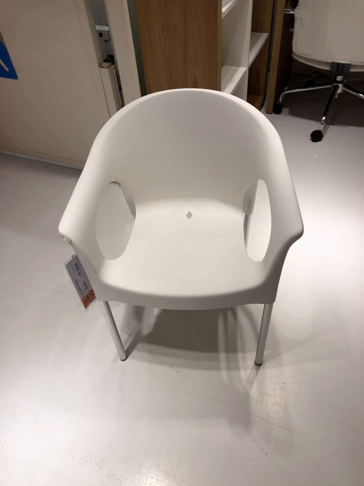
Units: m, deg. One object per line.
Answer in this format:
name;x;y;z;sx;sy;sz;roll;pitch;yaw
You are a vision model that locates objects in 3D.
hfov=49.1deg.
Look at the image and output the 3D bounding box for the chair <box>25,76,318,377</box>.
chair;0.020;-0.036;1.299;0.610;0.735;0.614;2;48;7
